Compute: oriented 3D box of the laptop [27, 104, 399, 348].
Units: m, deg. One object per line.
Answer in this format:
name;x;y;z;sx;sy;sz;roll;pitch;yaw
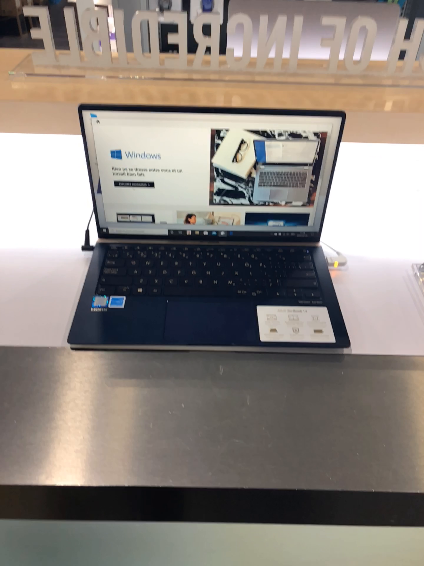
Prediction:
laptop;0.000;-0.064;0.510;0.301;0.182;0.192;1;41;-2
